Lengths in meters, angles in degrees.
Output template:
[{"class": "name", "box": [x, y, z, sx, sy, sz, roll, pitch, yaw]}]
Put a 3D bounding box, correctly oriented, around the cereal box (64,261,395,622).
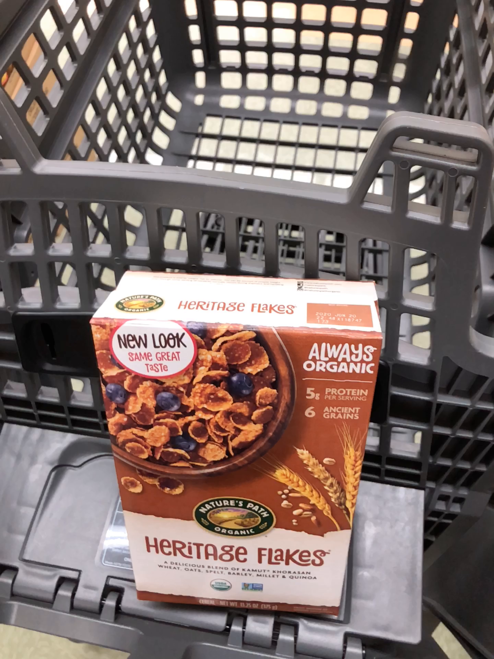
[{"class": "cereal box", "box": [-0.008, 0.085, 0.368, 0.170, 0.250, 0.060, 3, 30, 5]}]
